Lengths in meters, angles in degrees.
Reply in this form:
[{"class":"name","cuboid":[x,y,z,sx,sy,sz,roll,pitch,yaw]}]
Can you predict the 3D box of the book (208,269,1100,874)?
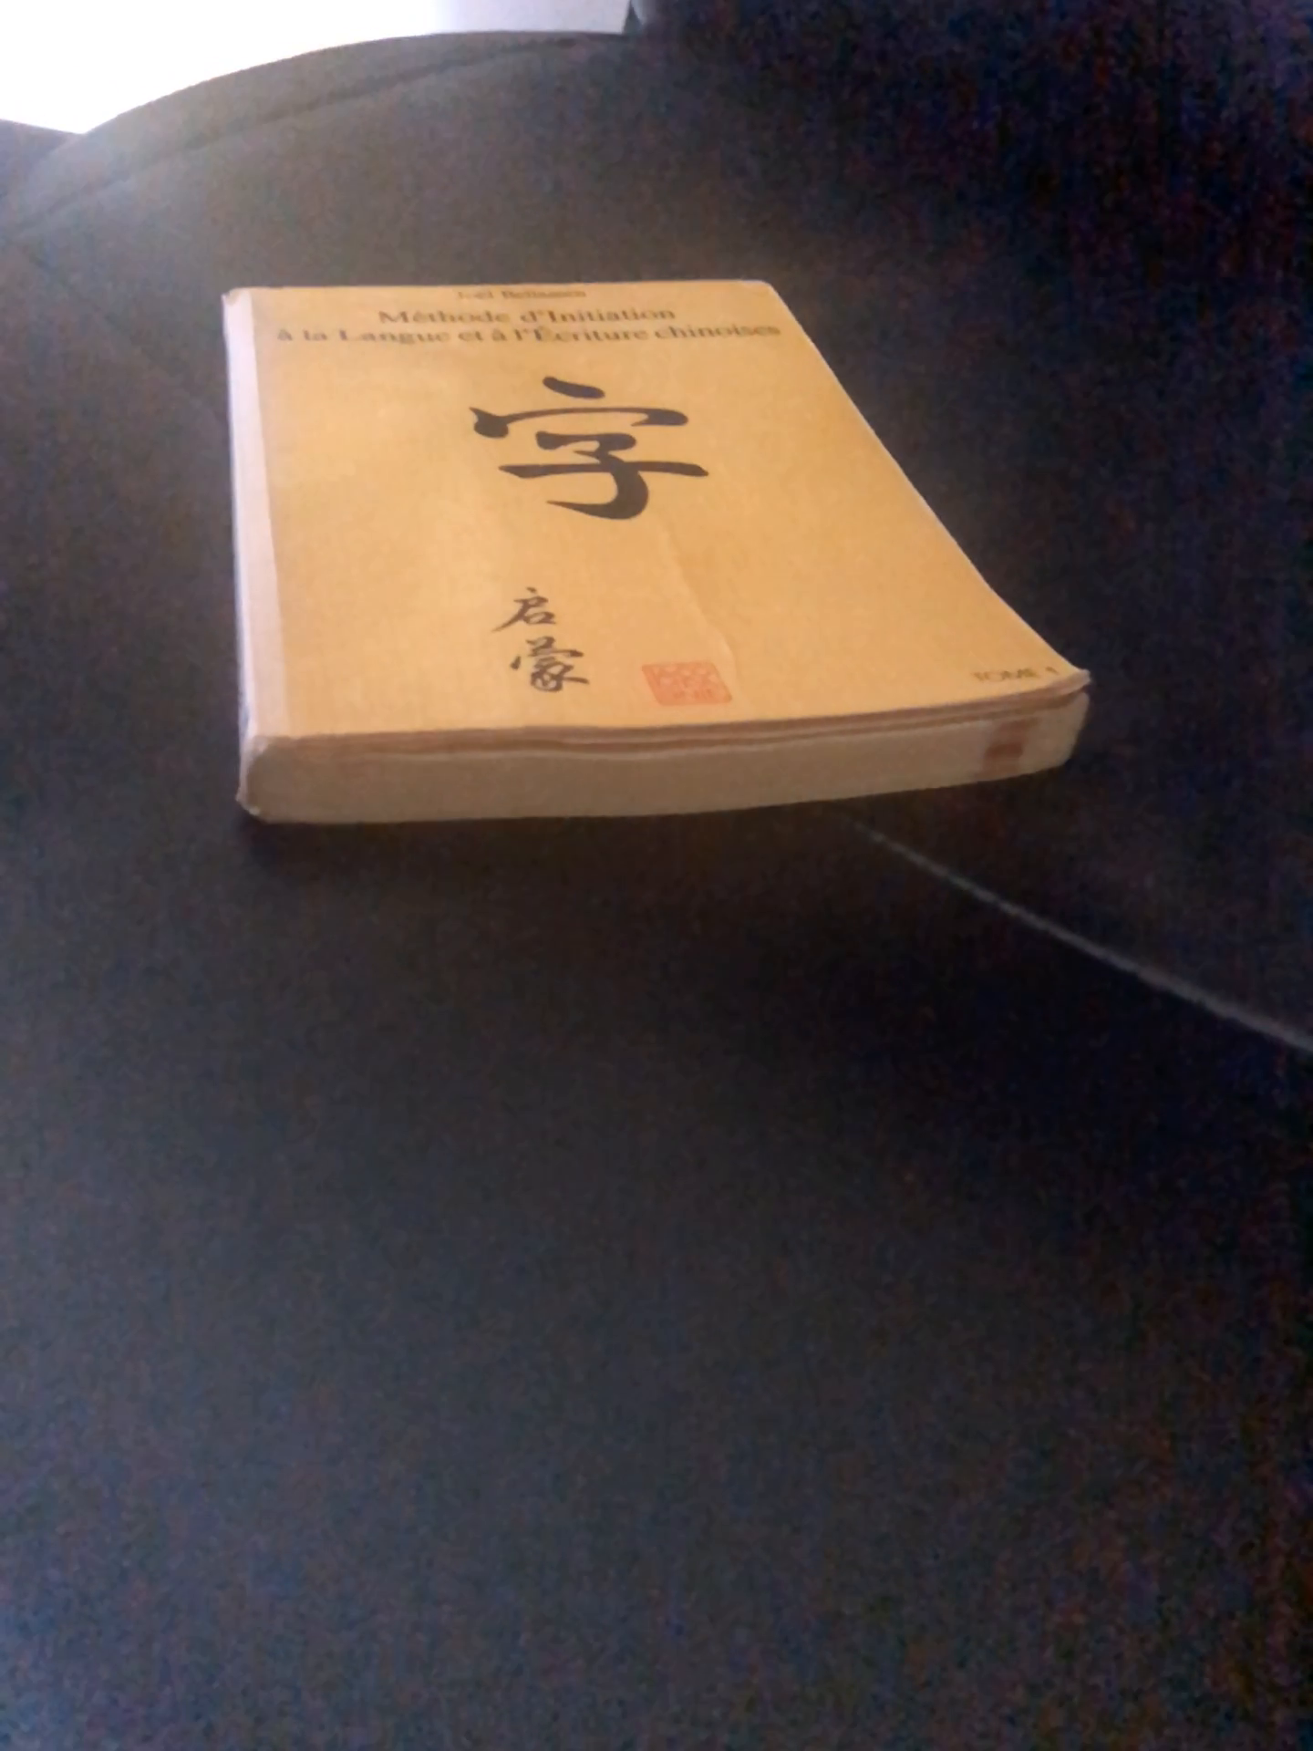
[{"class":"book","cuboid":[-0.020,-0.089,0.334,0.152,0.028,0.221,-7,39,-10]}]
